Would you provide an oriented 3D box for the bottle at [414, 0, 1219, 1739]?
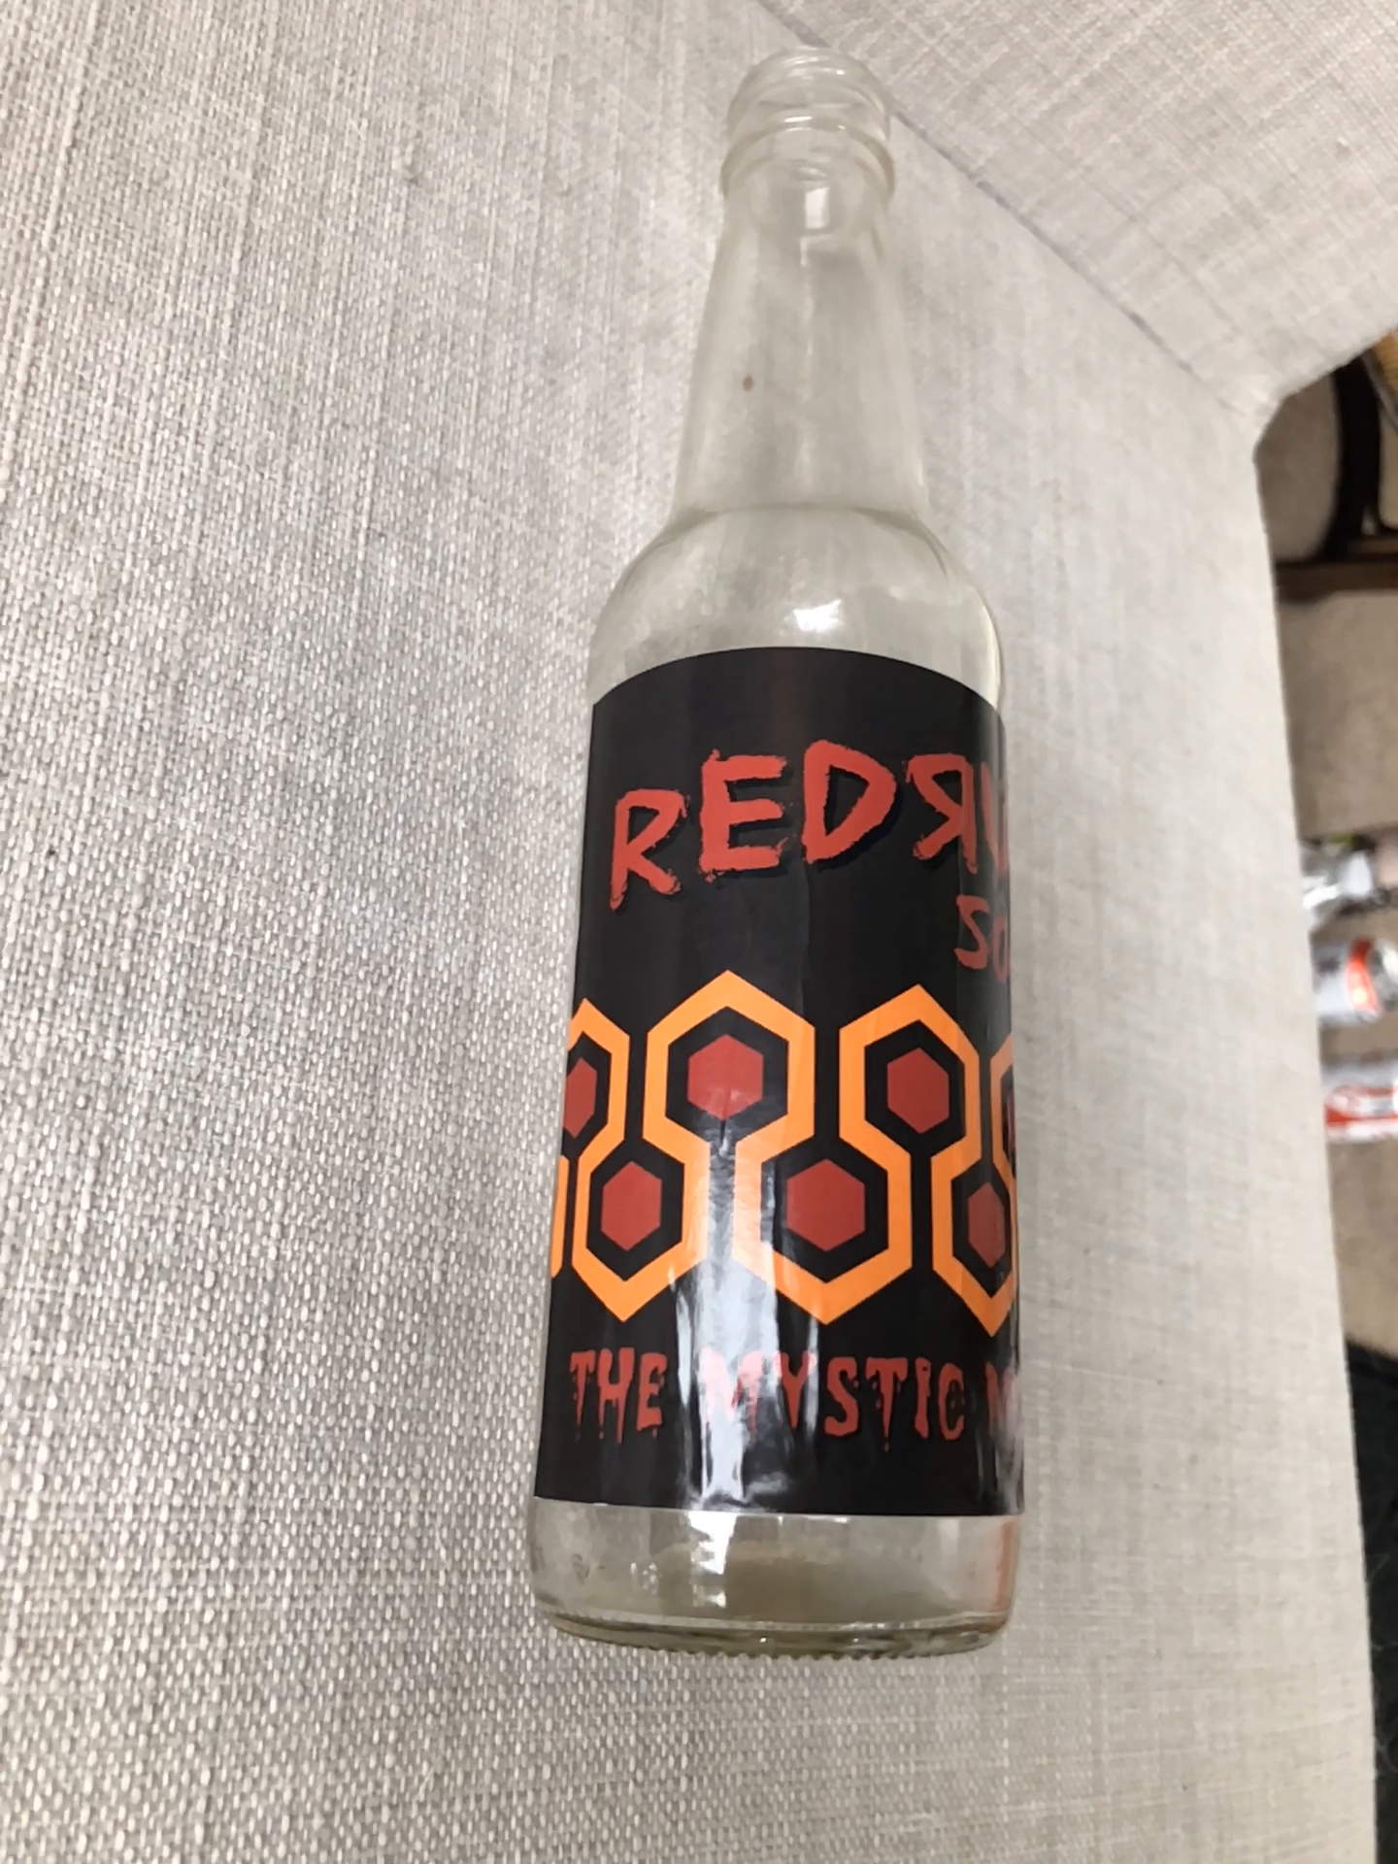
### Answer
[{"bbox_3d":[0.018,-0.027,0.215,0.063,0.069,0.231,16,69,-37],"label":"bottle"}]
